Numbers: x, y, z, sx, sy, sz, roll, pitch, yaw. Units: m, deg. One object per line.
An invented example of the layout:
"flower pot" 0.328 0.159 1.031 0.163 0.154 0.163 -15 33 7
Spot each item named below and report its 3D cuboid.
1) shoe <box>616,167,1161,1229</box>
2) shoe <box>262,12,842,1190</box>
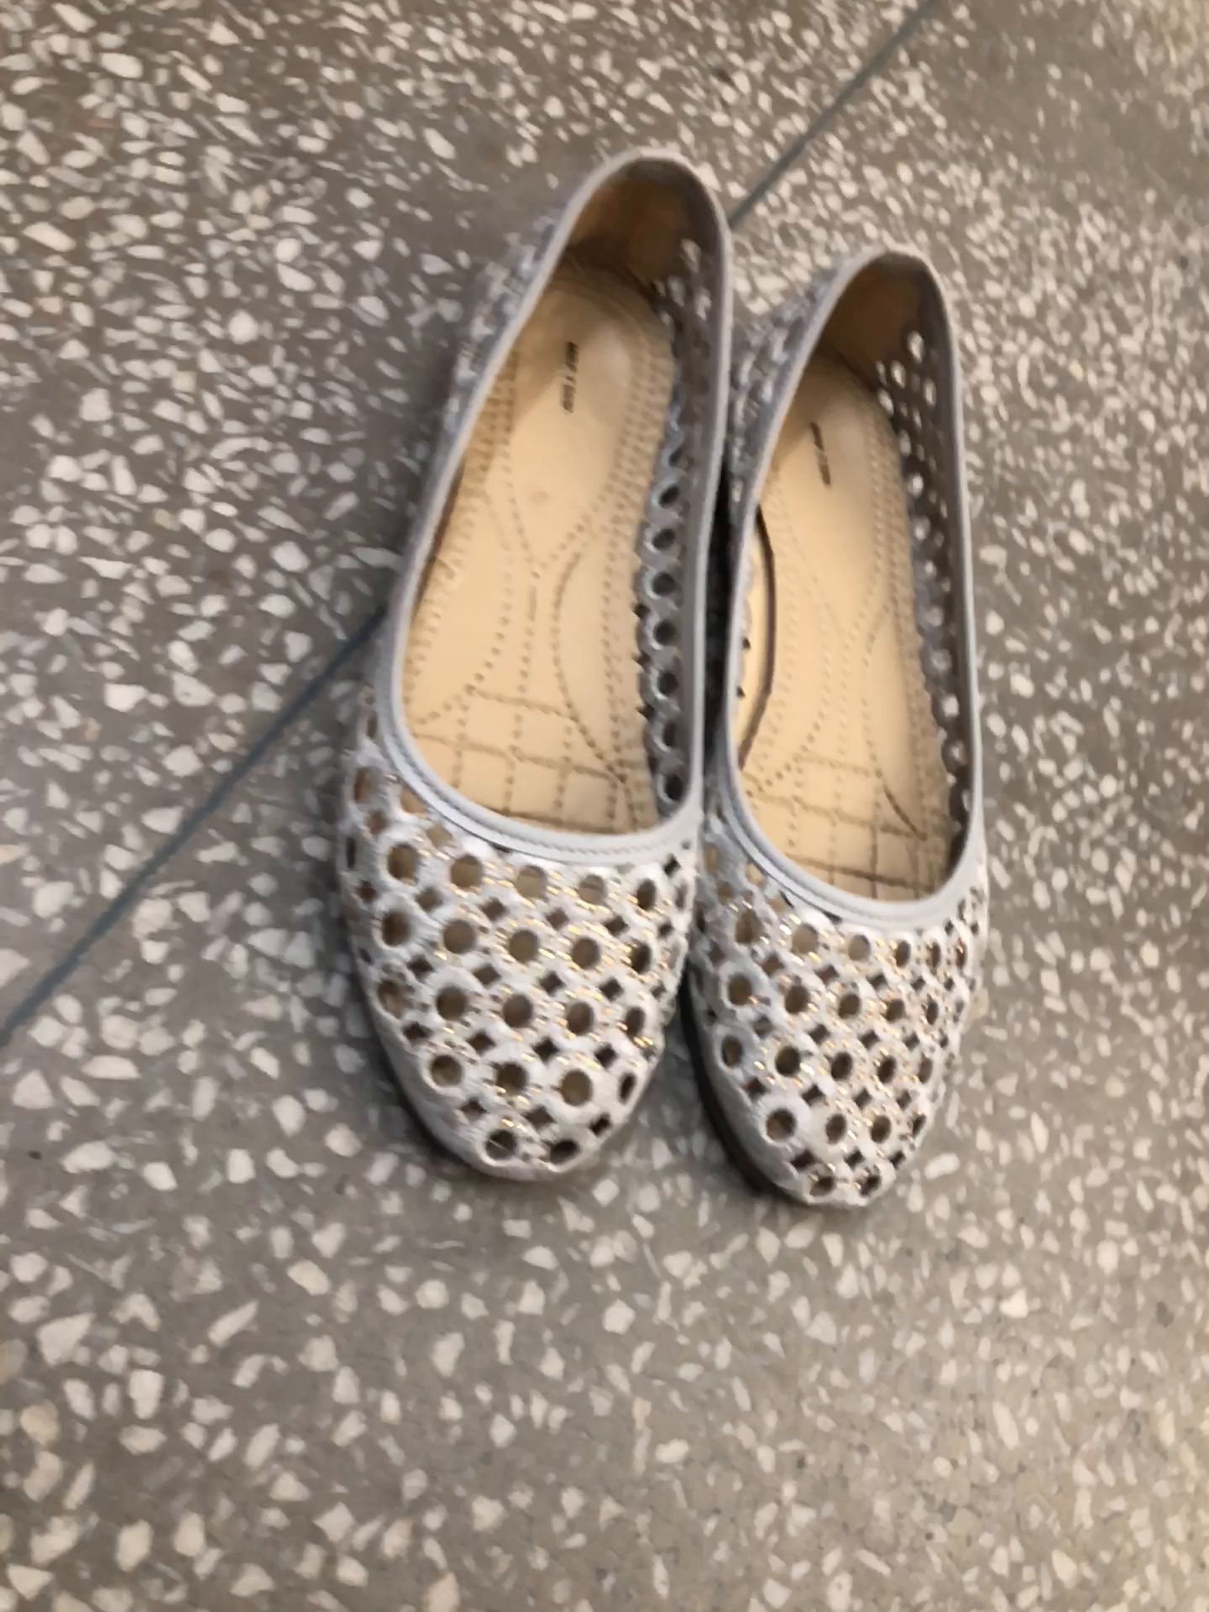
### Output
"shoe" 0.064 -0.024 0.335 0.093 0.070 0.240 11 68 -23
"shoe" -0.008 -0.043 0.304 0.093 0.070 0.240 11 68 -23
